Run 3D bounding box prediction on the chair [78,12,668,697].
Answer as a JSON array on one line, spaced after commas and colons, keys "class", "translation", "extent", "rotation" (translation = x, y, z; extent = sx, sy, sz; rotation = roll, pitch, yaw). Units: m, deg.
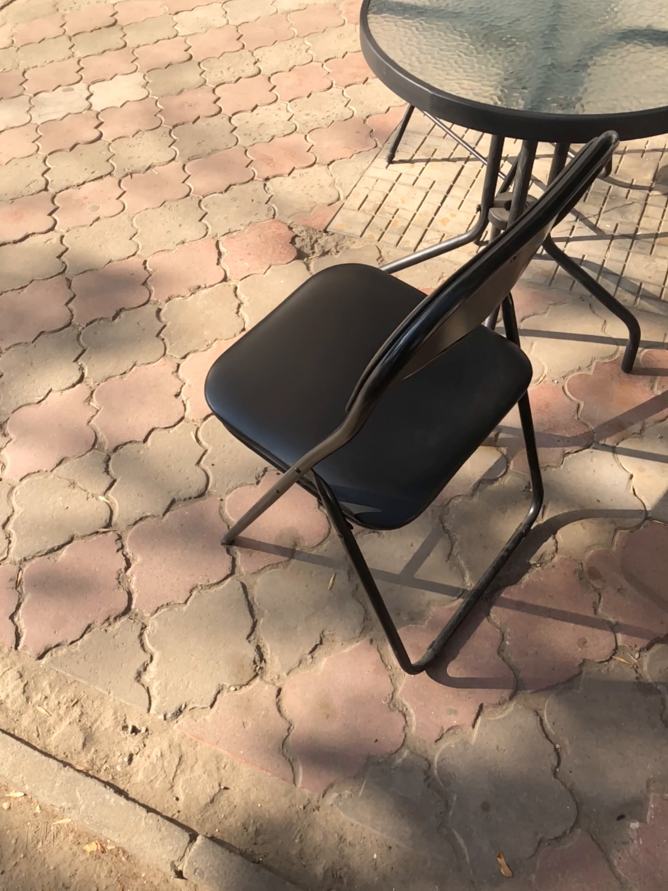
[{"class": "chair", "translation": [0.087, -0.098, 1.053], "extent": [0.470, 0.698, 0.501], "rotation": [32, 60, 23]}]
